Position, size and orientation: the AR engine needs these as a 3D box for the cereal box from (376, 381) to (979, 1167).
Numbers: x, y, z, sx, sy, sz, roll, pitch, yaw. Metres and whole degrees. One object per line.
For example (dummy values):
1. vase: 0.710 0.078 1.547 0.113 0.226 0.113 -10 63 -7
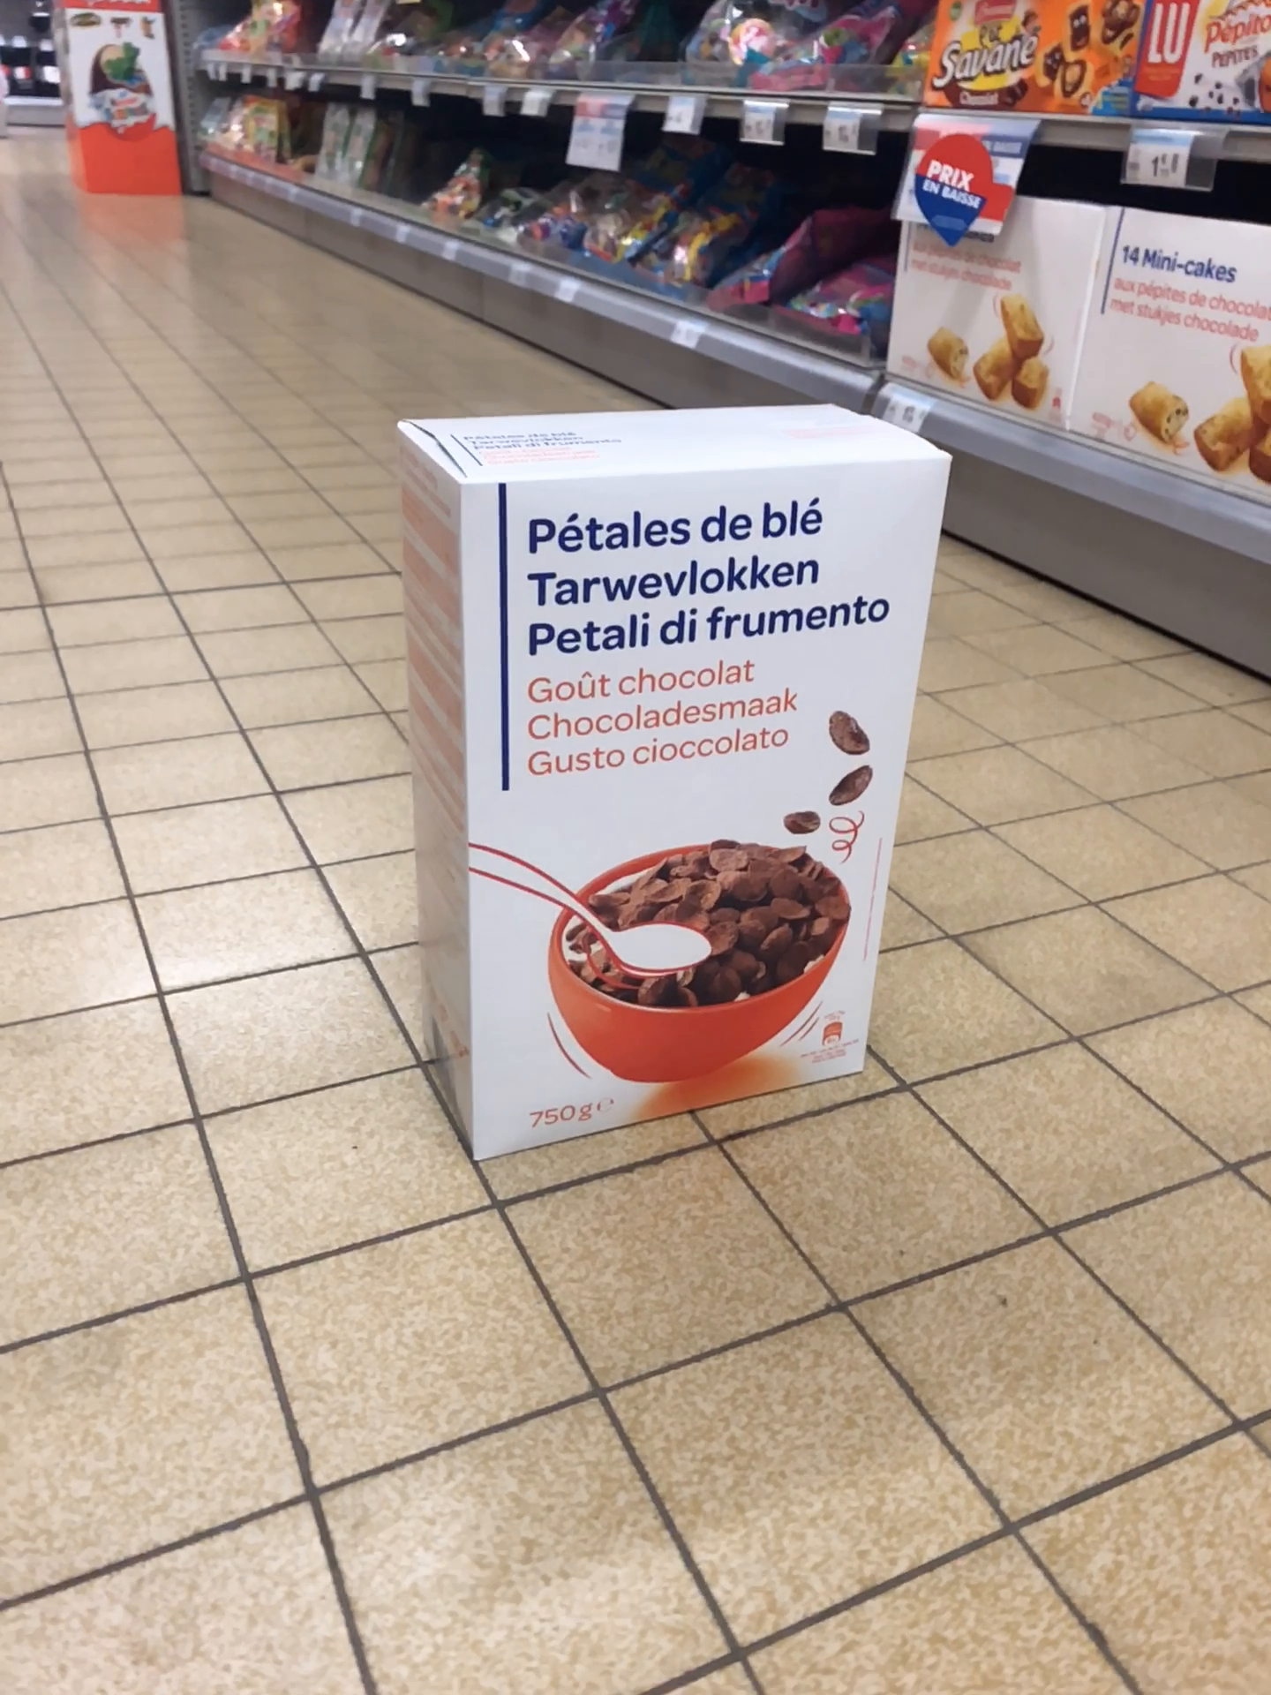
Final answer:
1. cereal box: 0.008 -0.034 0.582 0.201 0.288 0.100 -9 30 -22
